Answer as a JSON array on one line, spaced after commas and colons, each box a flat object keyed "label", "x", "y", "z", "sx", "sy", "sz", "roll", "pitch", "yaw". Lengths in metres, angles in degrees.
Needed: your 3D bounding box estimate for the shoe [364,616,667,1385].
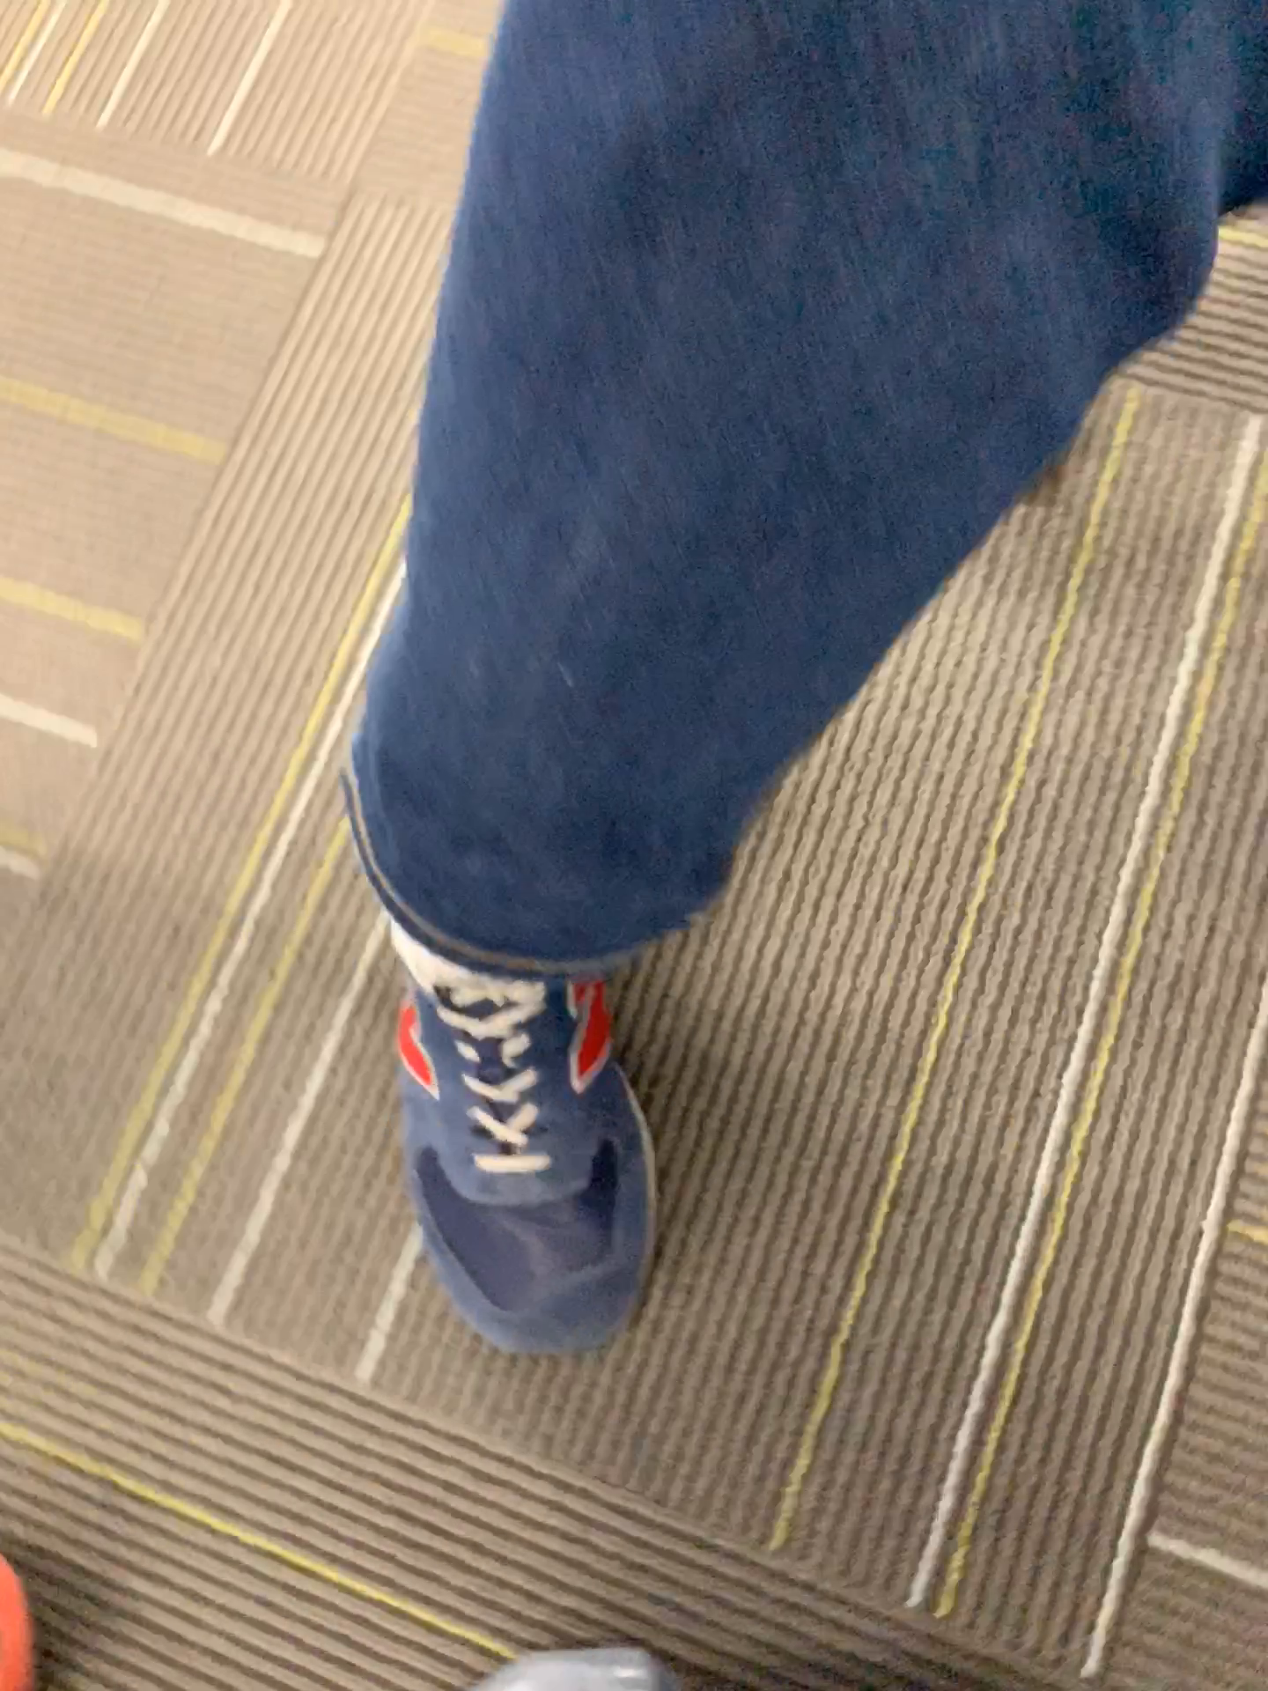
[{"label": "shoe", "x": -0.050, "y": 0.069, "z": 0.600, "sx": 0.108, "sy": 0.139, "sz": 0.307, "roll": -3, "pitch": 76, "yaw": 4}]
